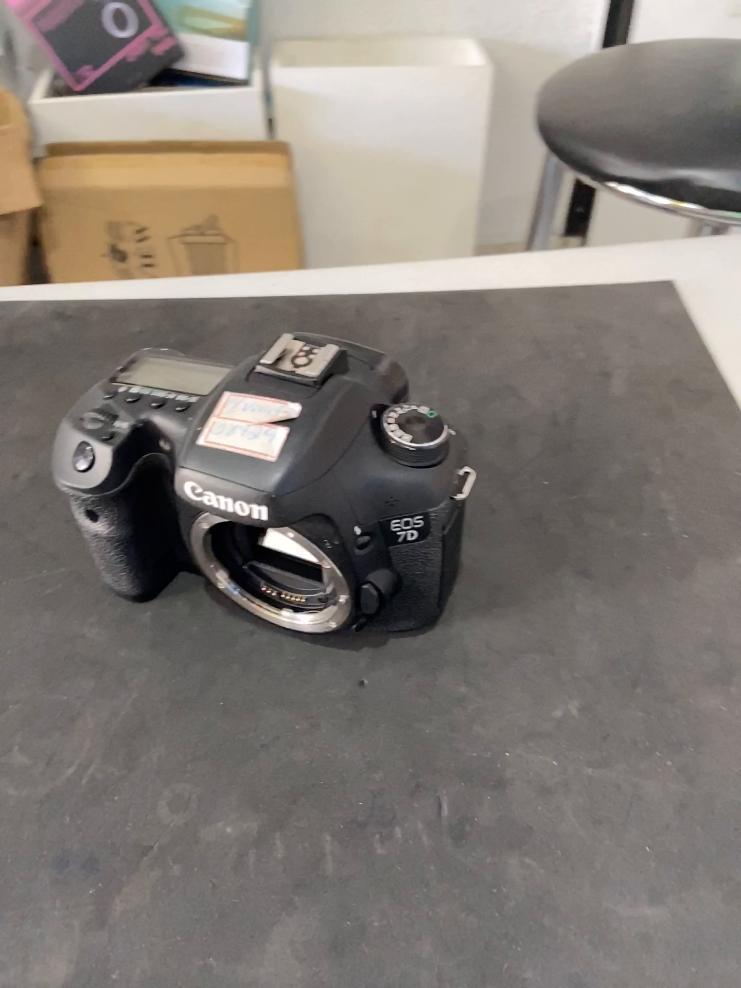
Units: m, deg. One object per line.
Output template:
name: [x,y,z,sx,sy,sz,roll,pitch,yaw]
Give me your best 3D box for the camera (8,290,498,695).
camera: [-0.038,-0.003,0.307,0.152,0.101,0.083,14,48,15]
